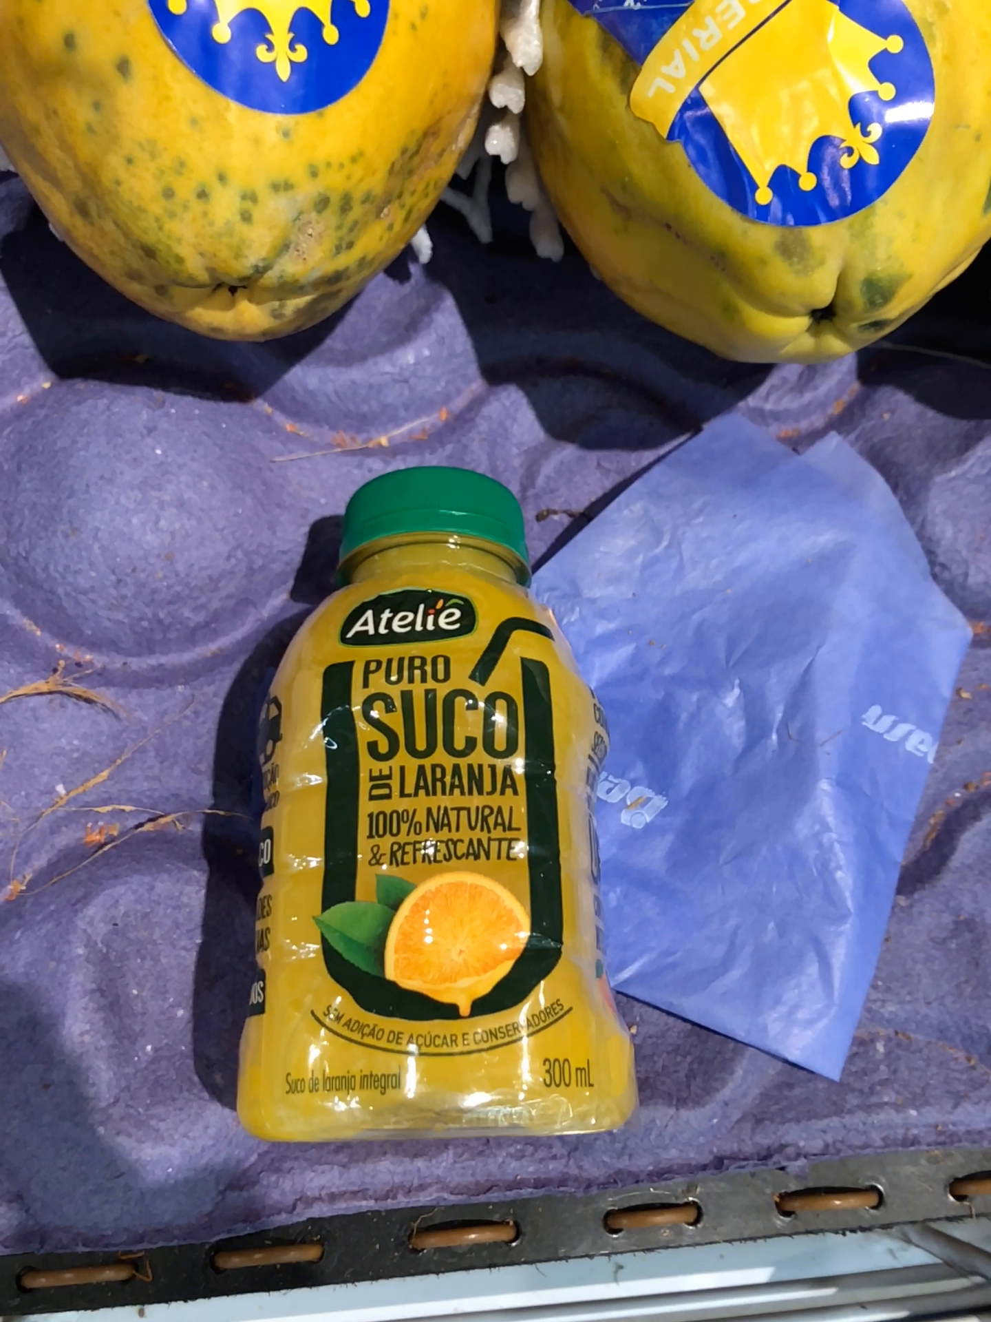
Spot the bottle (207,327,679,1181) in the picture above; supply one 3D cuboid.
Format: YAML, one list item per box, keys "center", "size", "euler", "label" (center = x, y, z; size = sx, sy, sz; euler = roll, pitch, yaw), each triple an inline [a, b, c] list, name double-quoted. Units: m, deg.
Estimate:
- center: [-0.012, 0.016, 0.212]
  size: [0.070, 0.060, 0.140]
  euler: [0, 74, -7]
  label: "bottle"
